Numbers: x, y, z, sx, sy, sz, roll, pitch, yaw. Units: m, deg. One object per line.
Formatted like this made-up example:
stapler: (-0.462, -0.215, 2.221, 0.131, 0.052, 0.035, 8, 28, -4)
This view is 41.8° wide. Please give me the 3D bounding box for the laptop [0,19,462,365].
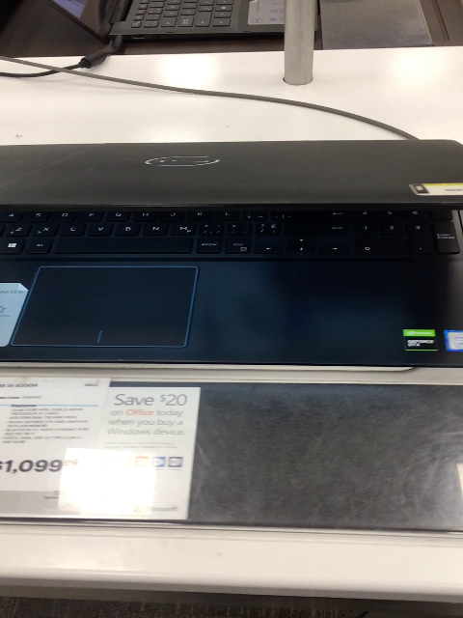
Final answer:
laptop: (-0.037, -0.083, 0.413, 0.417, 0.118, 0.214, 1, 54, 6)
